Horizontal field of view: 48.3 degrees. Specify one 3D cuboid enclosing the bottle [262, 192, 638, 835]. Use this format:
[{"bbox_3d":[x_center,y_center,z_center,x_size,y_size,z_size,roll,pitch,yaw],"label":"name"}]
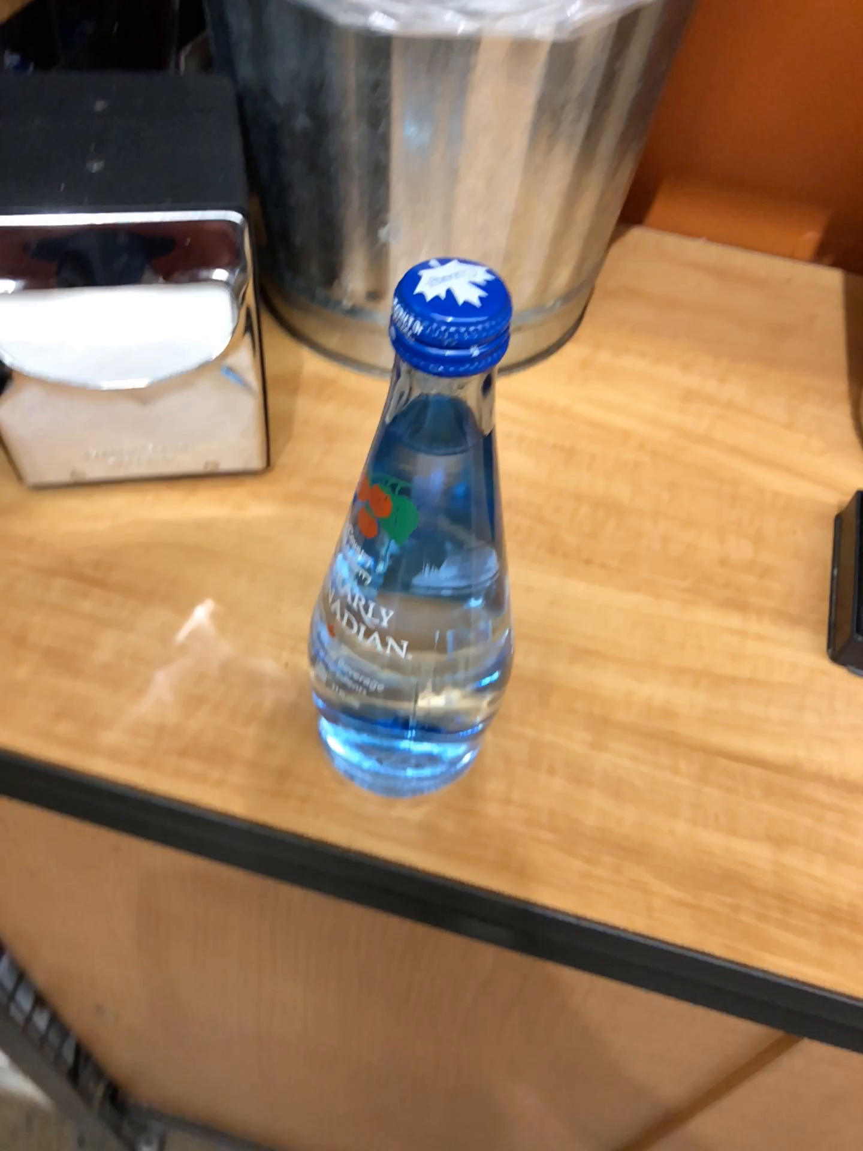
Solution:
[{"bbox_3d":[-0.005,-0.004,0.285,0.060,0.189,0.060,3,50,-4],"label":"bottle"}]
